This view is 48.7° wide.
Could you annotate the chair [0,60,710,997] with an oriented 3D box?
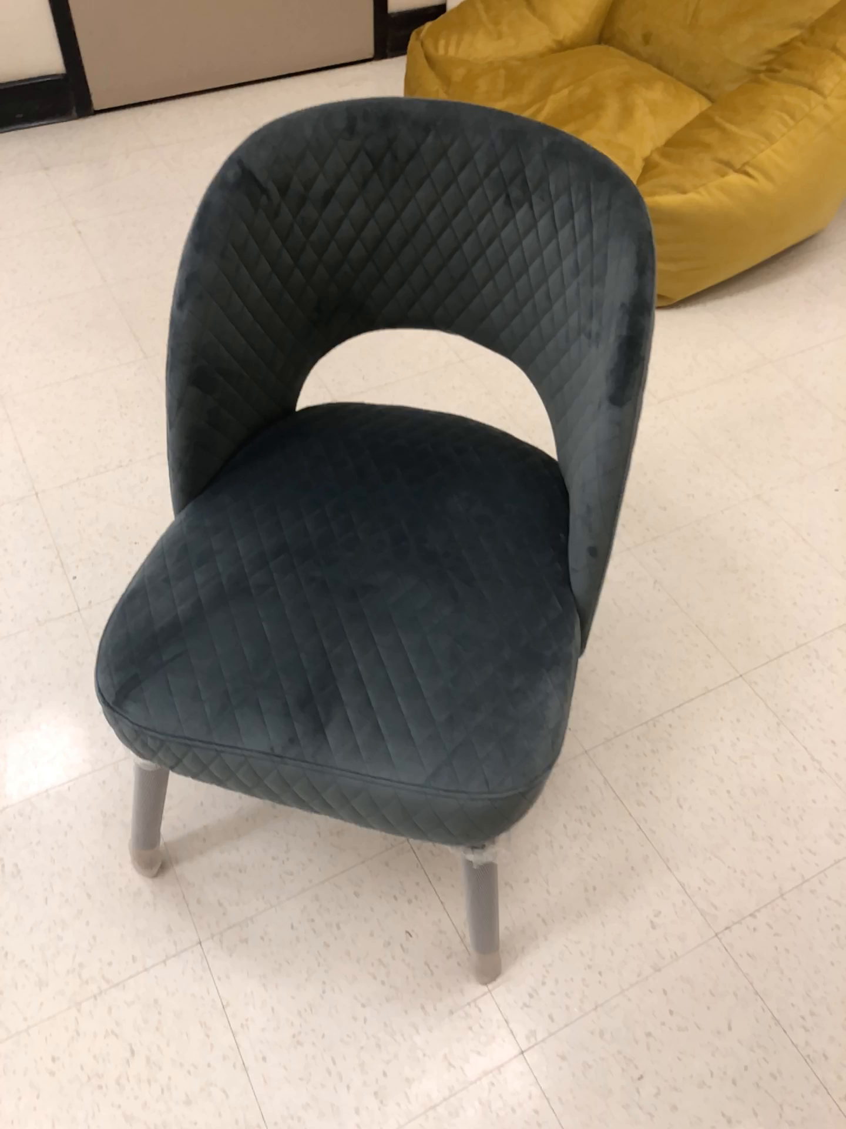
[{"bbox_3d":[-0.063,0.006,1.104,0.531,0.857,0.582,13,50,9],"label":"chair"}]
